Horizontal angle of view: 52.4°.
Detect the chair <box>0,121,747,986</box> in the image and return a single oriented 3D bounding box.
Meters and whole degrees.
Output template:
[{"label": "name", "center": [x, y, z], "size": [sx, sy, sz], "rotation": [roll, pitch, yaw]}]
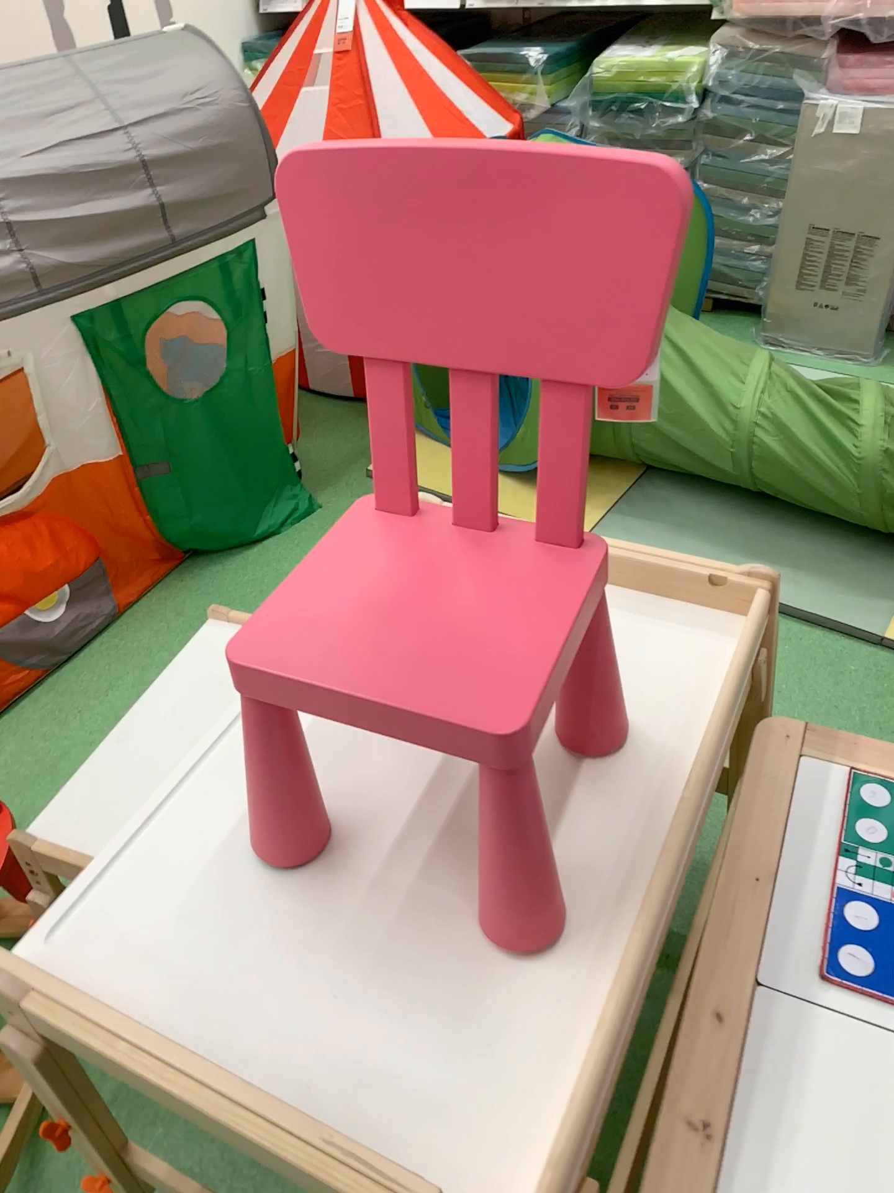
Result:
[{"label": "chair", "center": [-0.020, -0.052, 0.832], "size": [0.421, 0.597, 0.401], "rotation": [14, 43, 22]}]
